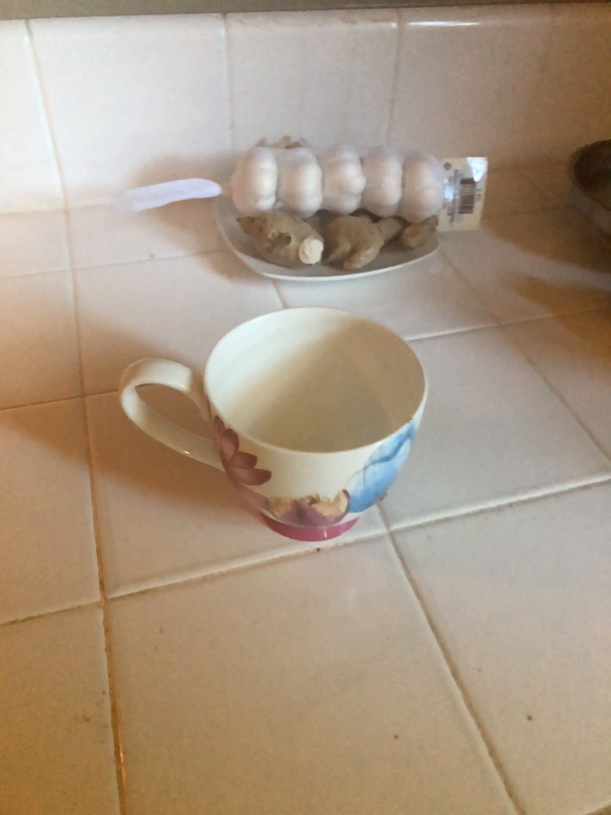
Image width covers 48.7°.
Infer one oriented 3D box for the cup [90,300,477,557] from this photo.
[{"bbox_3d":[-0.011,0.011,0.364,0.170,0.089,0.101,1,44,-2],"label":"cup"}]
